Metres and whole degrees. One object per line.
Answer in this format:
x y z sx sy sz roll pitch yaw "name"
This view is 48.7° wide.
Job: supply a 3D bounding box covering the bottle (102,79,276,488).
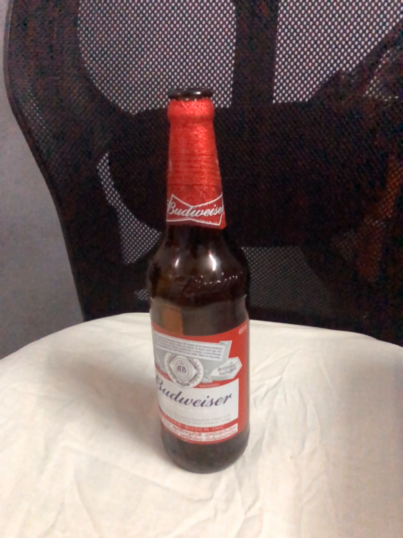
-0.002 0.021 0.313 0.080 0.279 0.070 7 28 14 "bottle"
